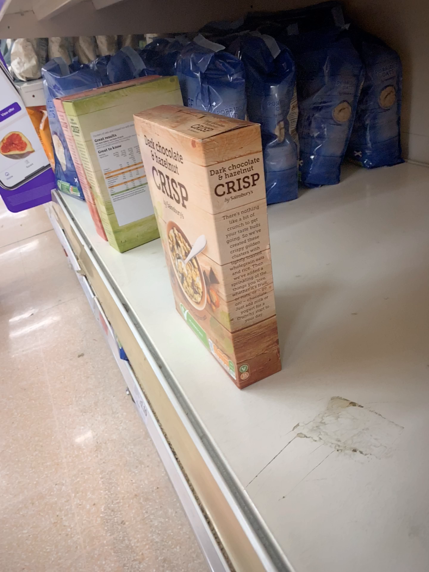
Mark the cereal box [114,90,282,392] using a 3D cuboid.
[{"bbox_3d":[-0.018,-0.054,0.447,0.060,0.248,0.192,-20,32,-18],"label":"cereal box"}]
